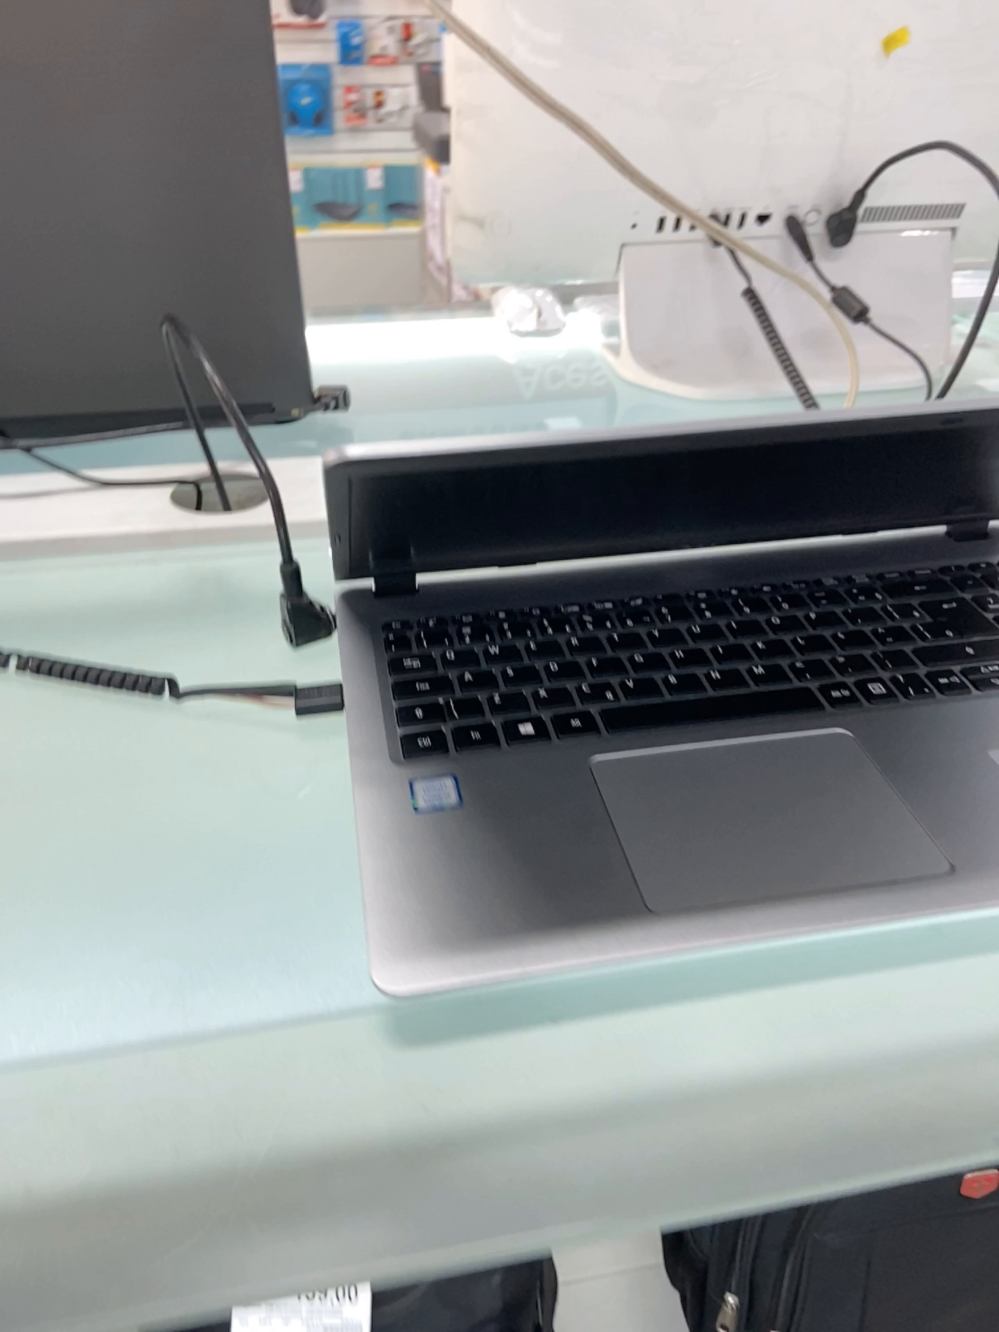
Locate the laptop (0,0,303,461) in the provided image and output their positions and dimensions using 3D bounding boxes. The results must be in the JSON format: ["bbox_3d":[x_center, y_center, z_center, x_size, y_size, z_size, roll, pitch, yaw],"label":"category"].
[{"bbox_3d":[-0.331,-0.322,0.690,0.363,0.249,0.266,-5,35,-10],"label":"laptop"}]

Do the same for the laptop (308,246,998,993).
[{"bbox_3d":[0.122,-0.050,0.382,0.360,0.138,0.237,-6,34,-10],"label":"laptop"}]
